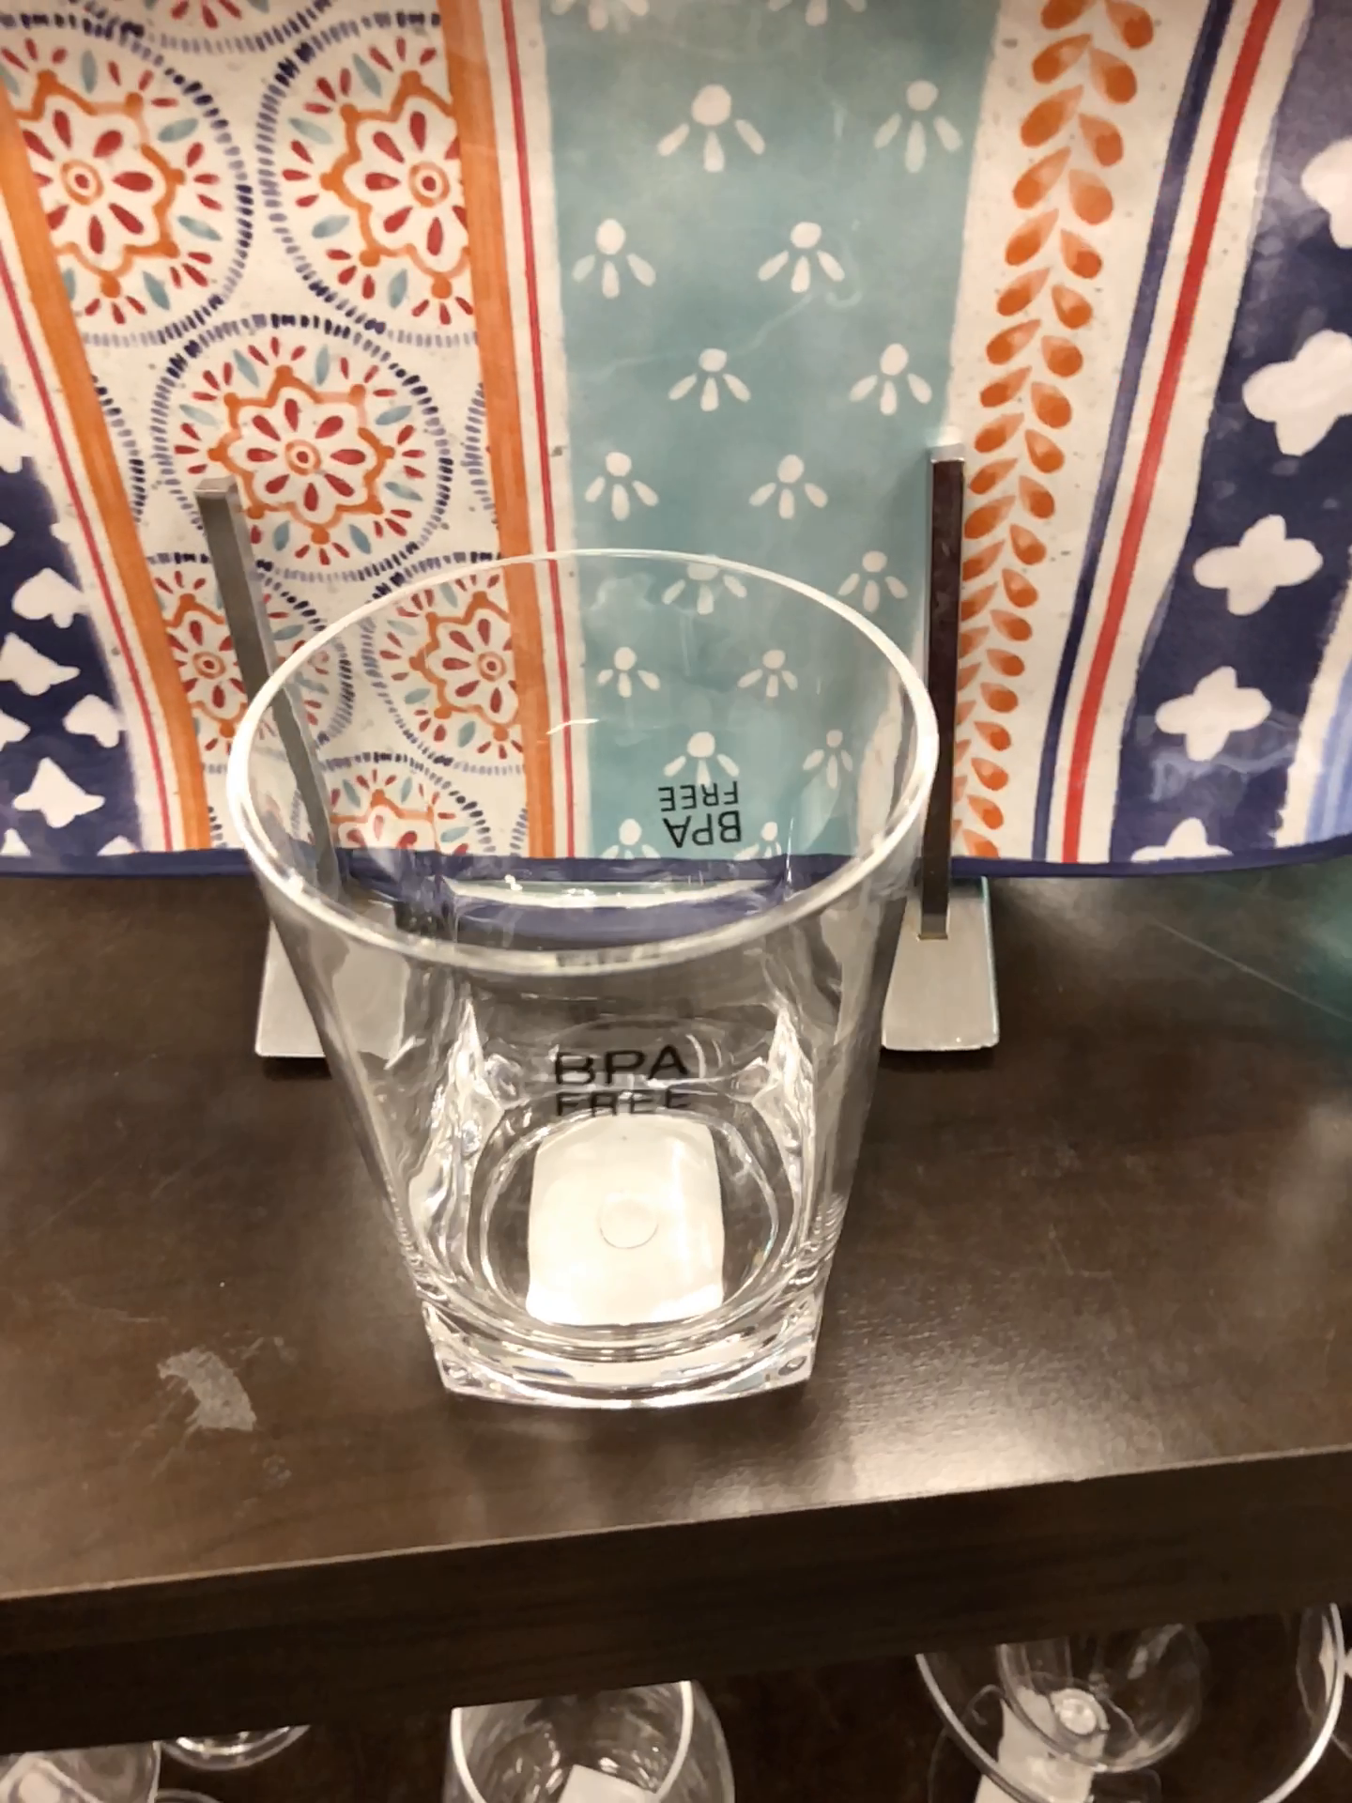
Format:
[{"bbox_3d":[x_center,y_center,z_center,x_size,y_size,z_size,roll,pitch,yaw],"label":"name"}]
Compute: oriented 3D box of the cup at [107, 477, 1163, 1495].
[{"bbox_3d":[-0.005,0.012,0.240,0.114,0.111,0.108,-2,42,1],"label":"cup"}]
